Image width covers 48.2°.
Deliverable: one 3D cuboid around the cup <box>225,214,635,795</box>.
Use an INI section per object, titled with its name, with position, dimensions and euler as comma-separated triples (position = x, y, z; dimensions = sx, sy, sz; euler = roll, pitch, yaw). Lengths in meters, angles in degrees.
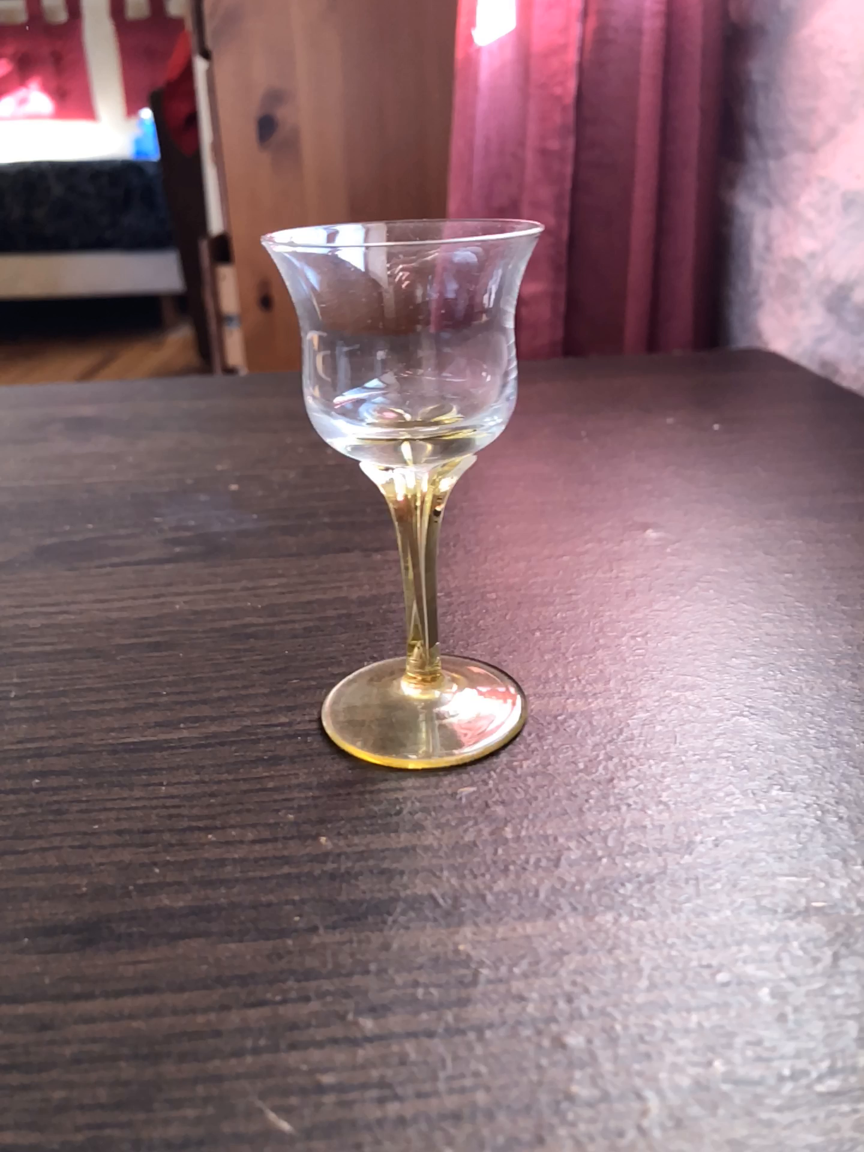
[cup]
position = -0.001, -0.016, 0.178
dimensions = 0.058, 0.093, 0.051
euler = -2, 22, -4
